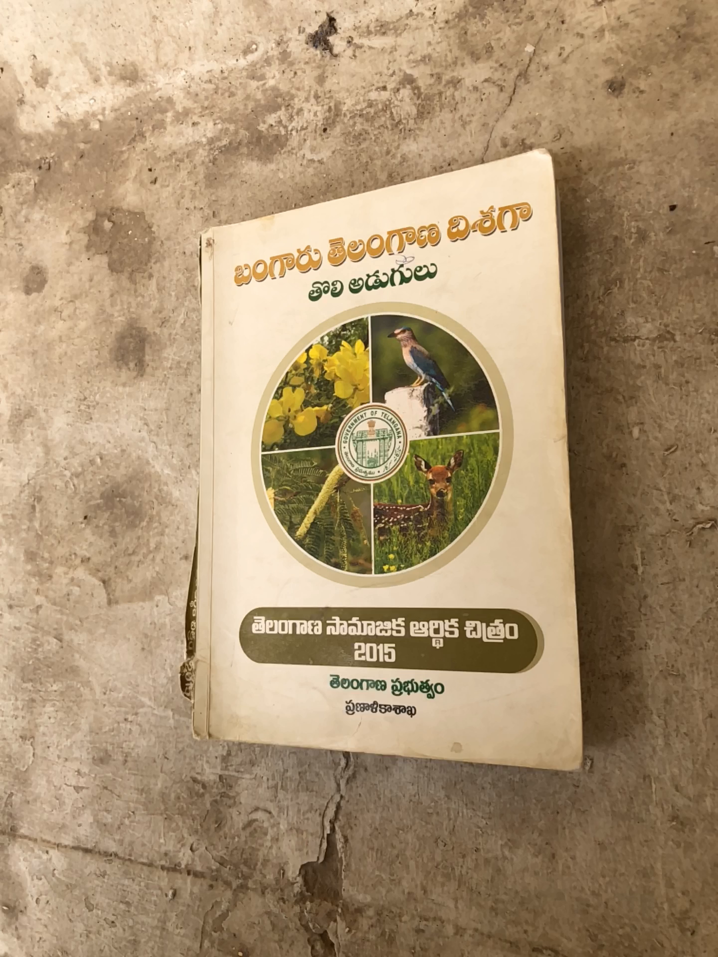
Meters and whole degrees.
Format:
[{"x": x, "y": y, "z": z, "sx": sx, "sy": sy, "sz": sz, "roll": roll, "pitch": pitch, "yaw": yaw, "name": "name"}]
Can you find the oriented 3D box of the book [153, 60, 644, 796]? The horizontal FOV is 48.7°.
[{"x": 0.012, "y": -0.019, "z": 0.383, "sx": 0.221, "sy": 0.060, "sz": 0.290, "roll": -3, "pitch": 82, "yaw": 26, "name": "book"}]
